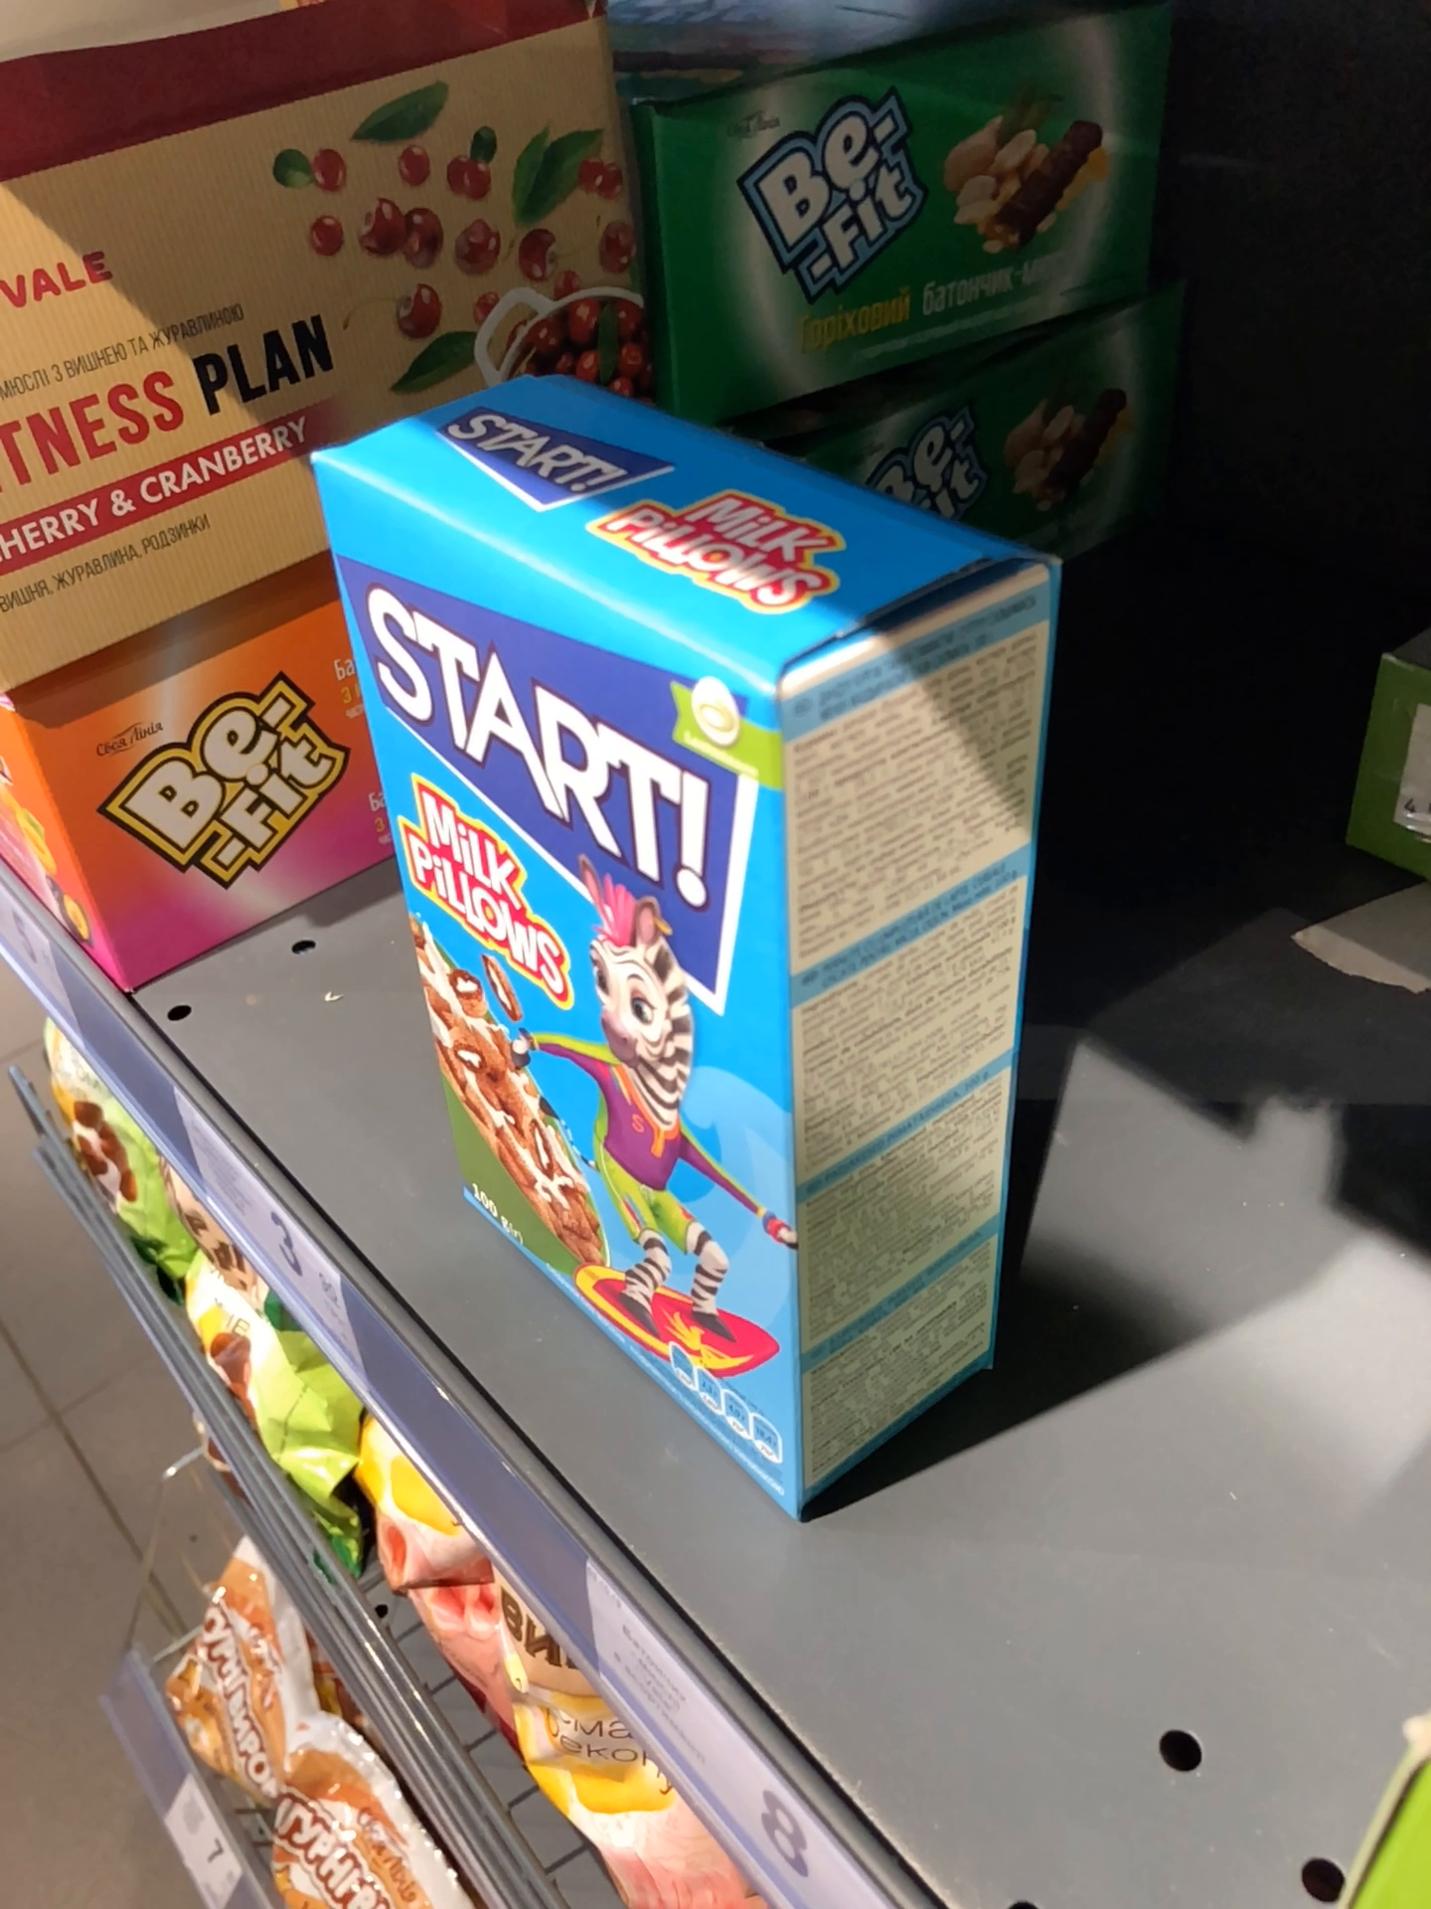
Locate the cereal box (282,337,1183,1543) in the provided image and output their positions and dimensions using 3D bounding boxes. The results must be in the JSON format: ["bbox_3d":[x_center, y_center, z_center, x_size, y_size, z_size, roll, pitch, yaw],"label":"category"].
[{"bbox_3d":[0.001,-0.003,0.285,0.070,0.169,0.121,-30,46,-30],"label":"cereal box"}]
